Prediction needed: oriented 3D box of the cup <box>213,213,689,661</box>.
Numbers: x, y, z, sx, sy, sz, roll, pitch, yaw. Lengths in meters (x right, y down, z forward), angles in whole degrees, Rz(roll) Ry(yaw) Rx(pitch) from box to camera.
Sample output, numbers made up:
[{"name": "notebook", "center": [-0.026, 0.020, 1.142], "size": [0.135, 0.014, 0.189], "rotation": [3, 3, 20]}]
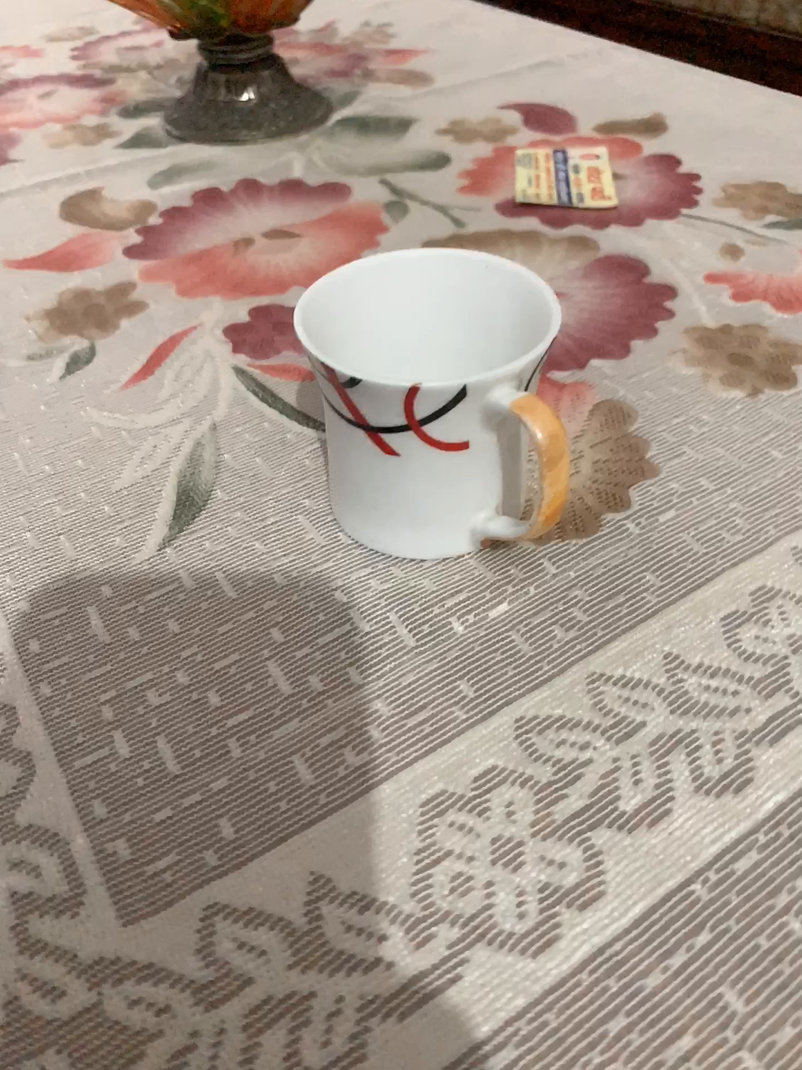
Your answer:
[{"name": "cup", "center": [0.010, -0.031, 0.217], "size": [0.070, 0.060, 0.090], "rotation": [-29, 49, -25]}]
